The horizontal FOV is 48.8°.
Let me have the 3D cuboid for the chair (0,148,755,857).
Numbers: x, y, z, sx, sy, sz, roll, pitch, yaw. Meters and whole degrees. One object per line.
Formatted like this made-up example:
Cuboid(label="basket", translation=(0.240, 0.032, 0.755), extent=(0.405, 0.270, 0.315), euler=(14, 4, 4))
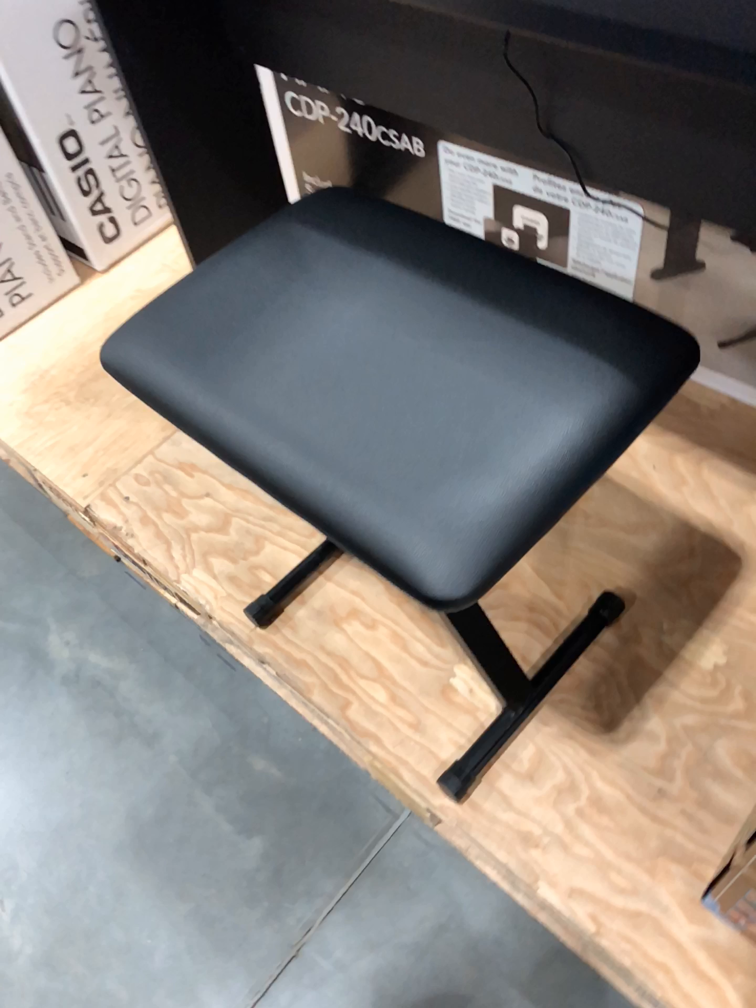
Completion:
Cuboid(label="chair", translation=(-0.011, -0.038, 0.767), extent=(0.511, 0.279, 0.370), euler=(34, 65, 30))
